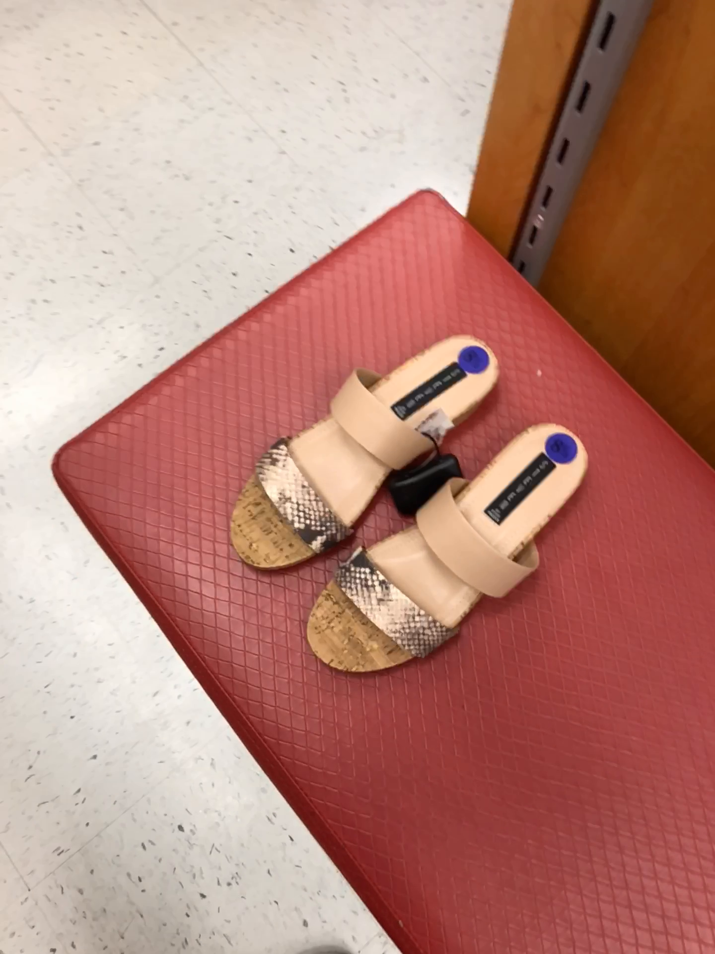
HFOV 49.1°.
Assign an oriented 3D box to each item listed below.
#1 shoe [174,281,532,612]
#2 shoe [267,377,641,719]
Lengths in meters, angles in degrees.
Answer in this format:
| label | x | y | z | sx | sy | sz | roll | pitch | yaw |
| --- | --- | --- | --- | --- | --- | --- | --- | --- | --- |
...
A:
| label | x | y | z | sx | sy | sz | roll | pitch | yaw |
| --- | --- | --- | --- | --- | --- | --- | --- | --- | --- |
| shoe | 0.000 | -0.023 | 0.602 | 0.257 | 0.085 | 0.095 | -39 | 76 | -12 |
| shoe | 0.069 | 0.053 | 0.576 | 0.257 | 0.085 | 0.096 | -38 | 76 | -12 |
